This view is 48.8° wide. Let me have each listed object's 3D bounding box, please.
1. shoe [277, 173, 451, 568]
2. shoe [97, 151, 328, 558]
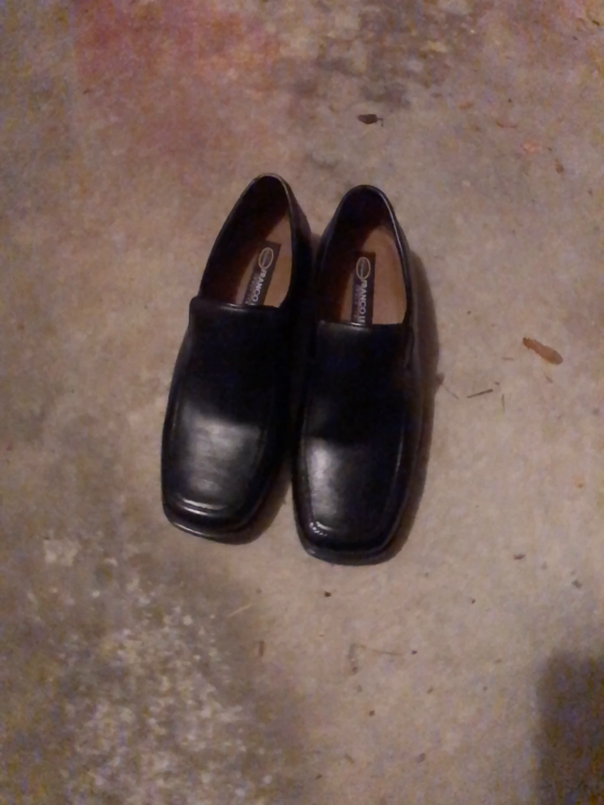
[{"bbox_3d":[0.046,-0.024,0.498,0.104,0.113,0.269,2,68,3],"label":"shoe"},{"bbox_3d":[-0.051,-0.038,0.509,0.101,0.113,0.279,8,69,5],"label":"shoe"}]
